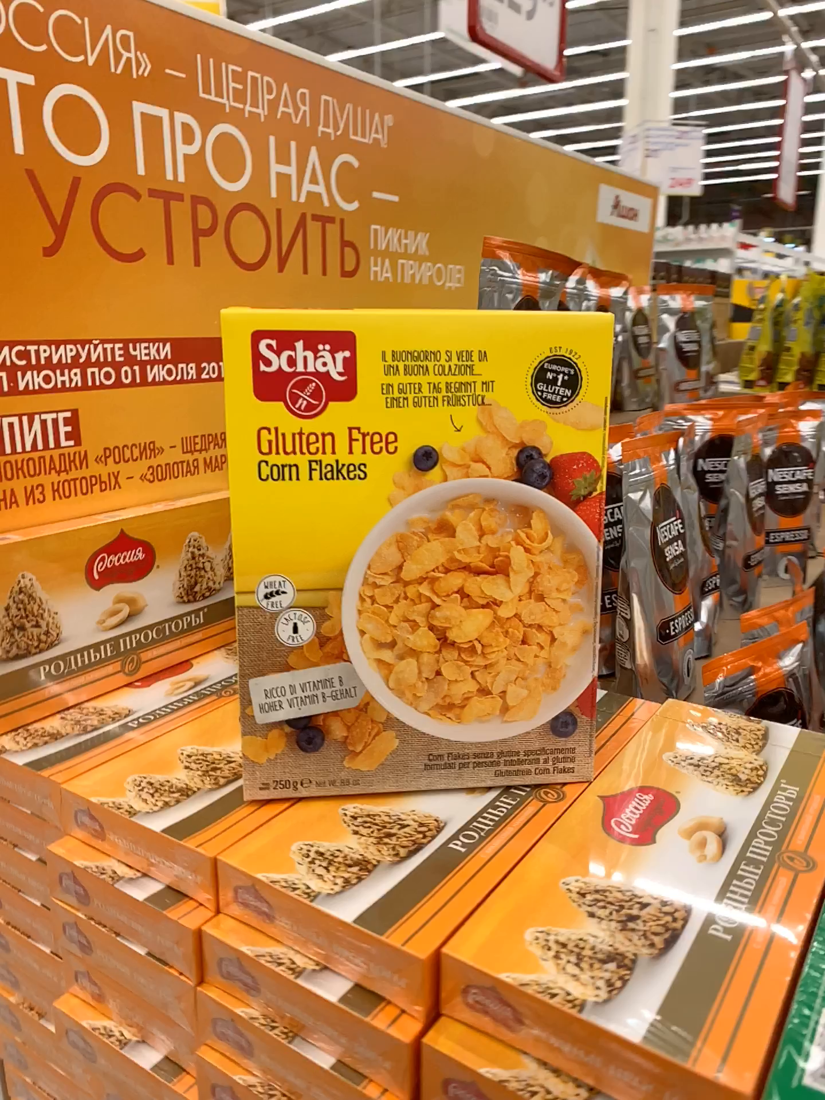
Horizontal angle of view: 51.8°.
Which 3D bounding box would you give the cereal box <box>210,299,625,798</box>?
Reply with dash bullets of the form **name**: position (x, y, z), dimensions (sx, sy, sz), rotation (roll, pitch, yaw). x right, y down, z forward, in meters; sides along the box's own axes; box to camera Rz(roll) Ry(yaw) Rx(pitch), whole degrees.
- **cereal box**: position (0.002, -0.002, 0.467), dimensions (0.200, 0.259, 0.060), rotation (-1, 14, -6)
